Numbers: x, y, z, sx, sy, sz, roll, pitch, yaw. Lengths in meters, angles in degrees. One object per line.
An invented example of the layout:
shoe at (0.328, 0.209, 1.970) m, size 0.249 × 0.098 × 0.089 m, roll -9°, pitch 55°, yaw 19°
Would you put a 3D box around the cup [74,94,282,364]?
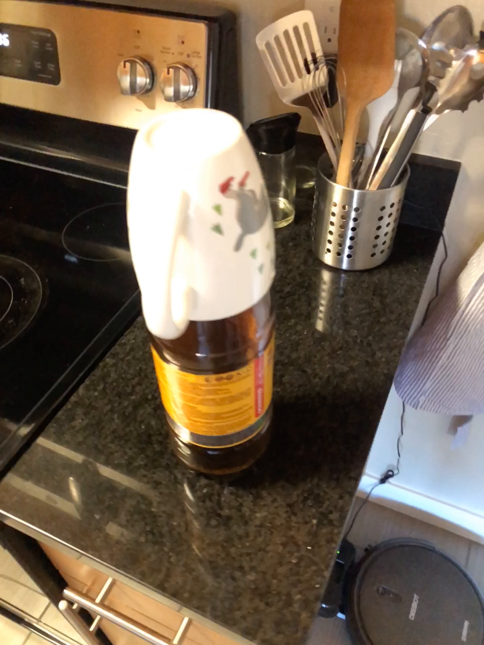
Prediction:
cup at (-0.028, -0.064, 0.345) m, size 0.100 × 0.110 × 0.141 m, roll 1°, pitch 44°, yaw 2°
